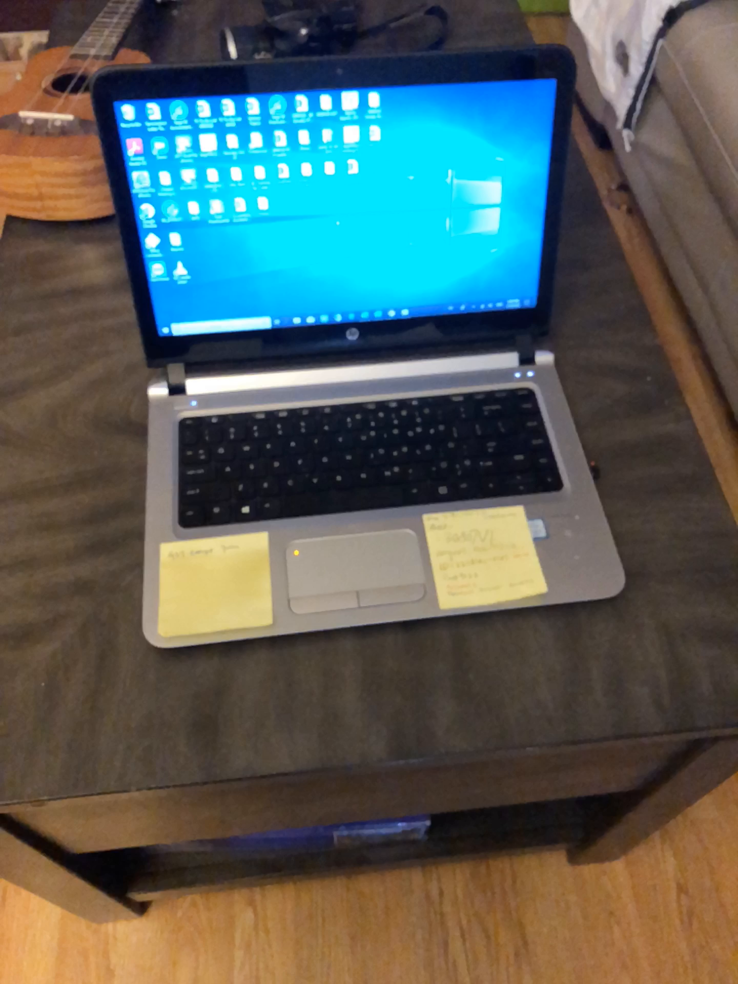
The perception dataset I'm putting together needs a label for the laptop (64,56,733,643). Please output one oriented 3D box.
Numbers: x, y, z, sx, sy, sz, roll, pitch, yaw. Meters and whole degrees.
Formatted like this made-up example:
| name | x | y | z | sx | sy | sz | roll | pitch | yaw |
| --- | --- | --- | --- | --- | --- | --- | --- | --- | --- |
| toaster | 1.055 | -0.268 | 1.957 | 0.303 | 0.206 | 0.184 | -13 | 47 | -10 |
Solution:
| name | x | y | z | sx | sy | sz | roll | pitch | yaw |
| --- | --- | --- | --- | --- | --- | --- | --- | --- | --- |
| laptop | -0.003 | -0.102 | 0.552 | 0.315 | 0.203 | 0.314 | -6 | 56 | -5 |
